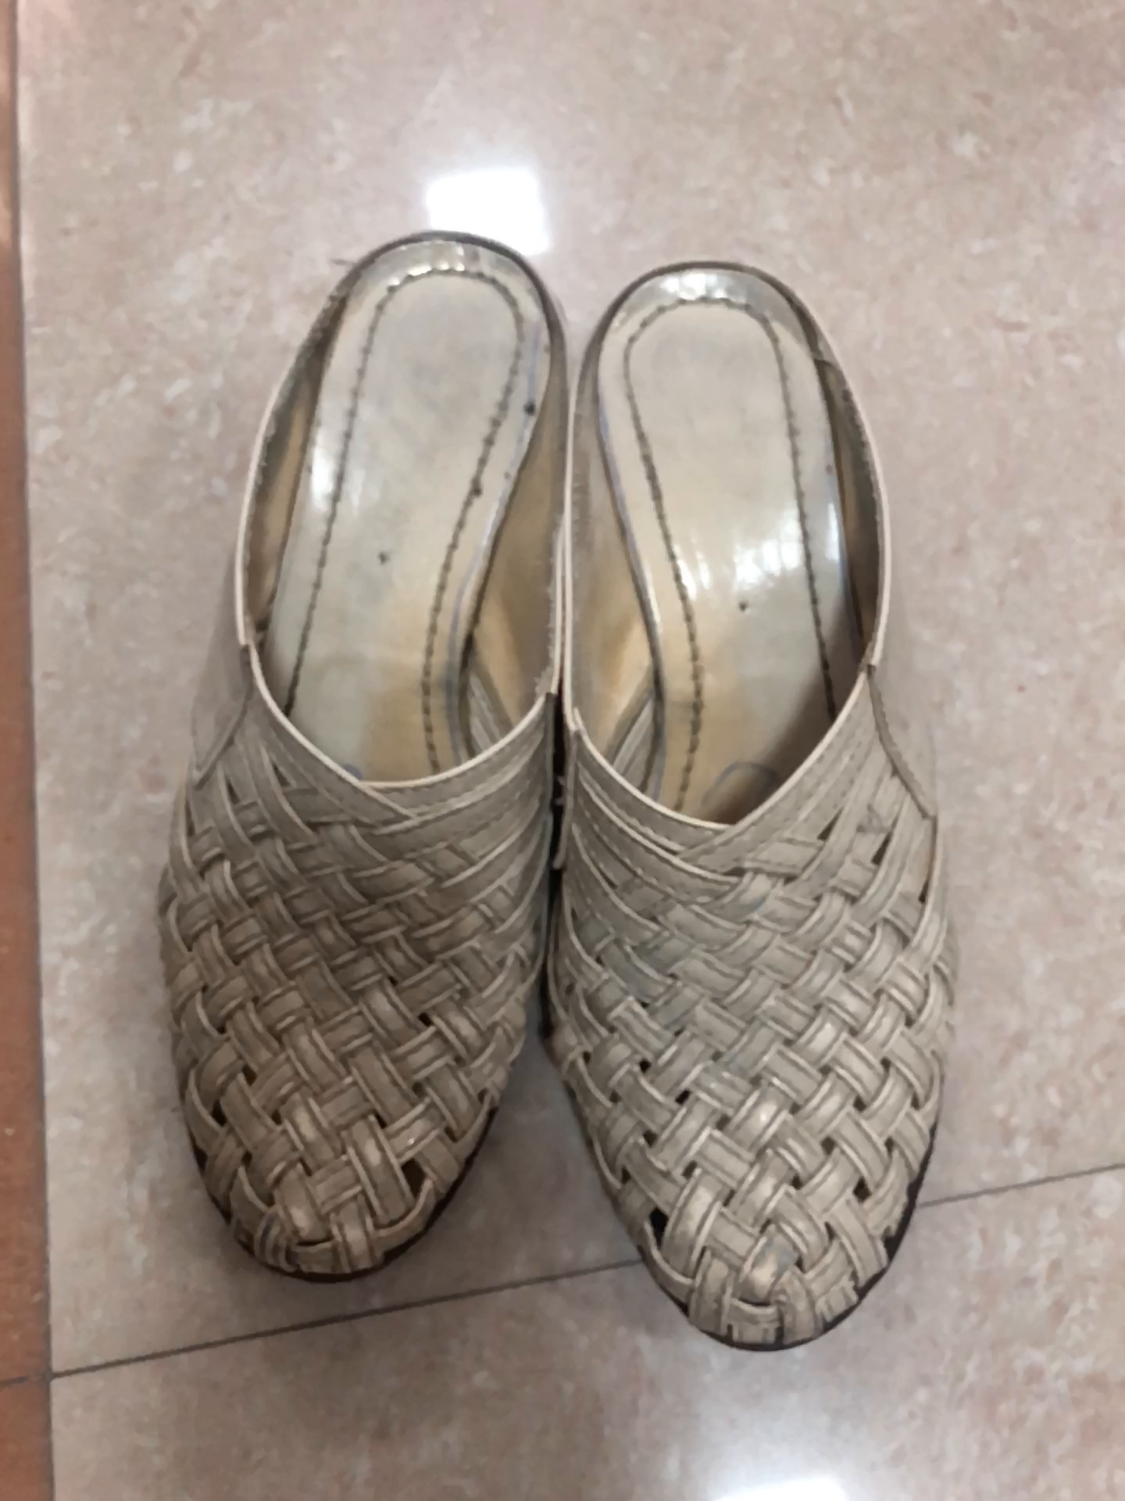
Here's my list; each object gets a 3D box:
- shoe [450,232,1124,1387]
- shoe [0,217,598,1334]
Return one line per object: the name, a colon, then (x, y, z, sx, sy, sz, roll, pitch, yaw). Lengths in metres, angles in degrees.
shoe: (0.035, 0.008, 0.277, 0.100, 0.085, 0.221, -5, 68, 0)
shoe: (-0.053, 0.001, 0.287, 0.100, 0.085, 0.225, 5, 69, 4)
